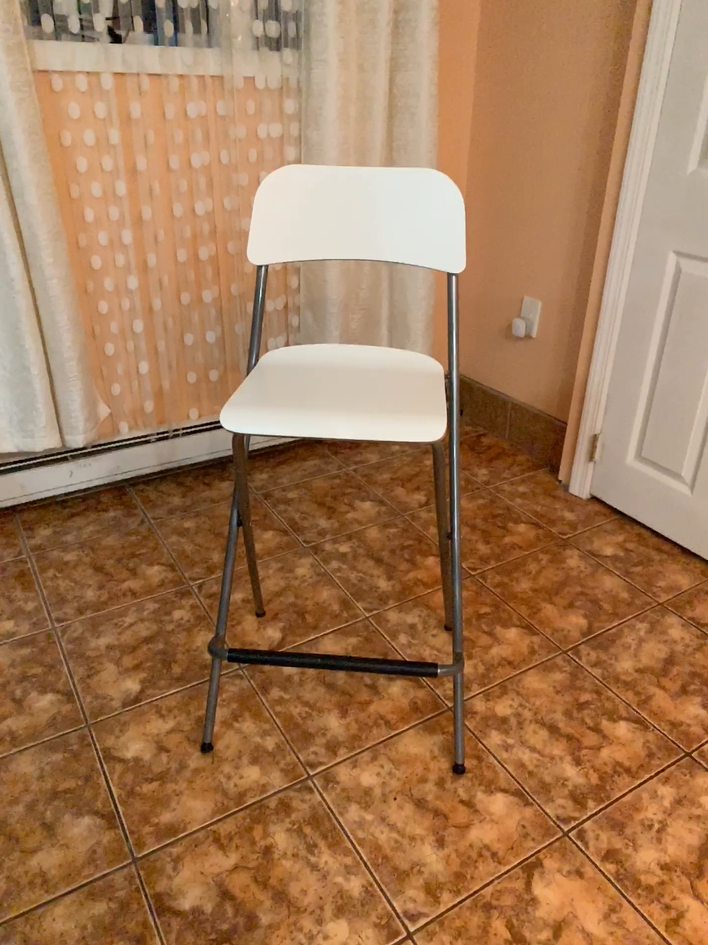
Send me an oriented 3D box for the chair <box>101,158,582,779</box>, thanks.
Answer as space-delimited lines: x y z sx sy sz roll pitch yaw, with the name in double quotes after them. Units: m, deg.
-0.025 -0.014 1.365 0.598 1.006 0.546 3 28 1 "chair"
